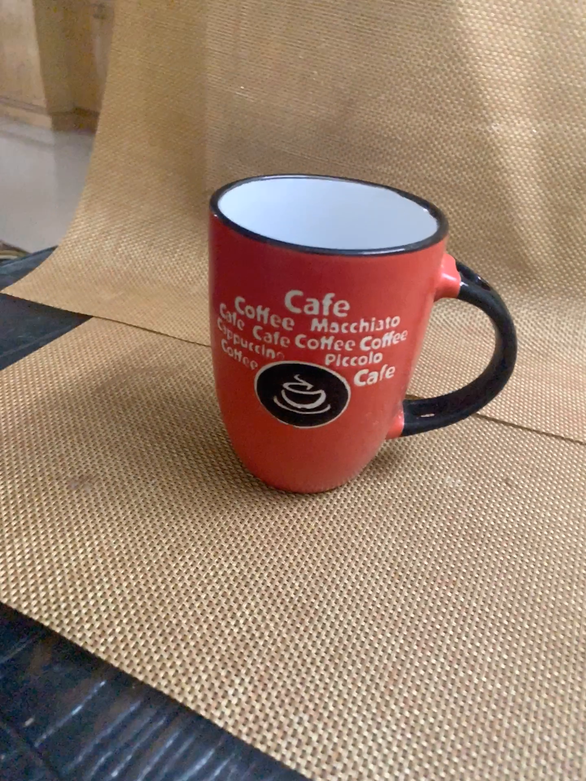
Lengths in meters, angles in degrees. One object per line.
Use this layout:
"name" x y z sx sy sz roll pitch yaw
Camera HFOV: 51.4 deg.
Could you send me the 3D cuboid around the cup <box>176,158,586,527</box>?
"cup" 0.024 -0.020 0.229 0.120 0.099 0.091 3 34 -3
